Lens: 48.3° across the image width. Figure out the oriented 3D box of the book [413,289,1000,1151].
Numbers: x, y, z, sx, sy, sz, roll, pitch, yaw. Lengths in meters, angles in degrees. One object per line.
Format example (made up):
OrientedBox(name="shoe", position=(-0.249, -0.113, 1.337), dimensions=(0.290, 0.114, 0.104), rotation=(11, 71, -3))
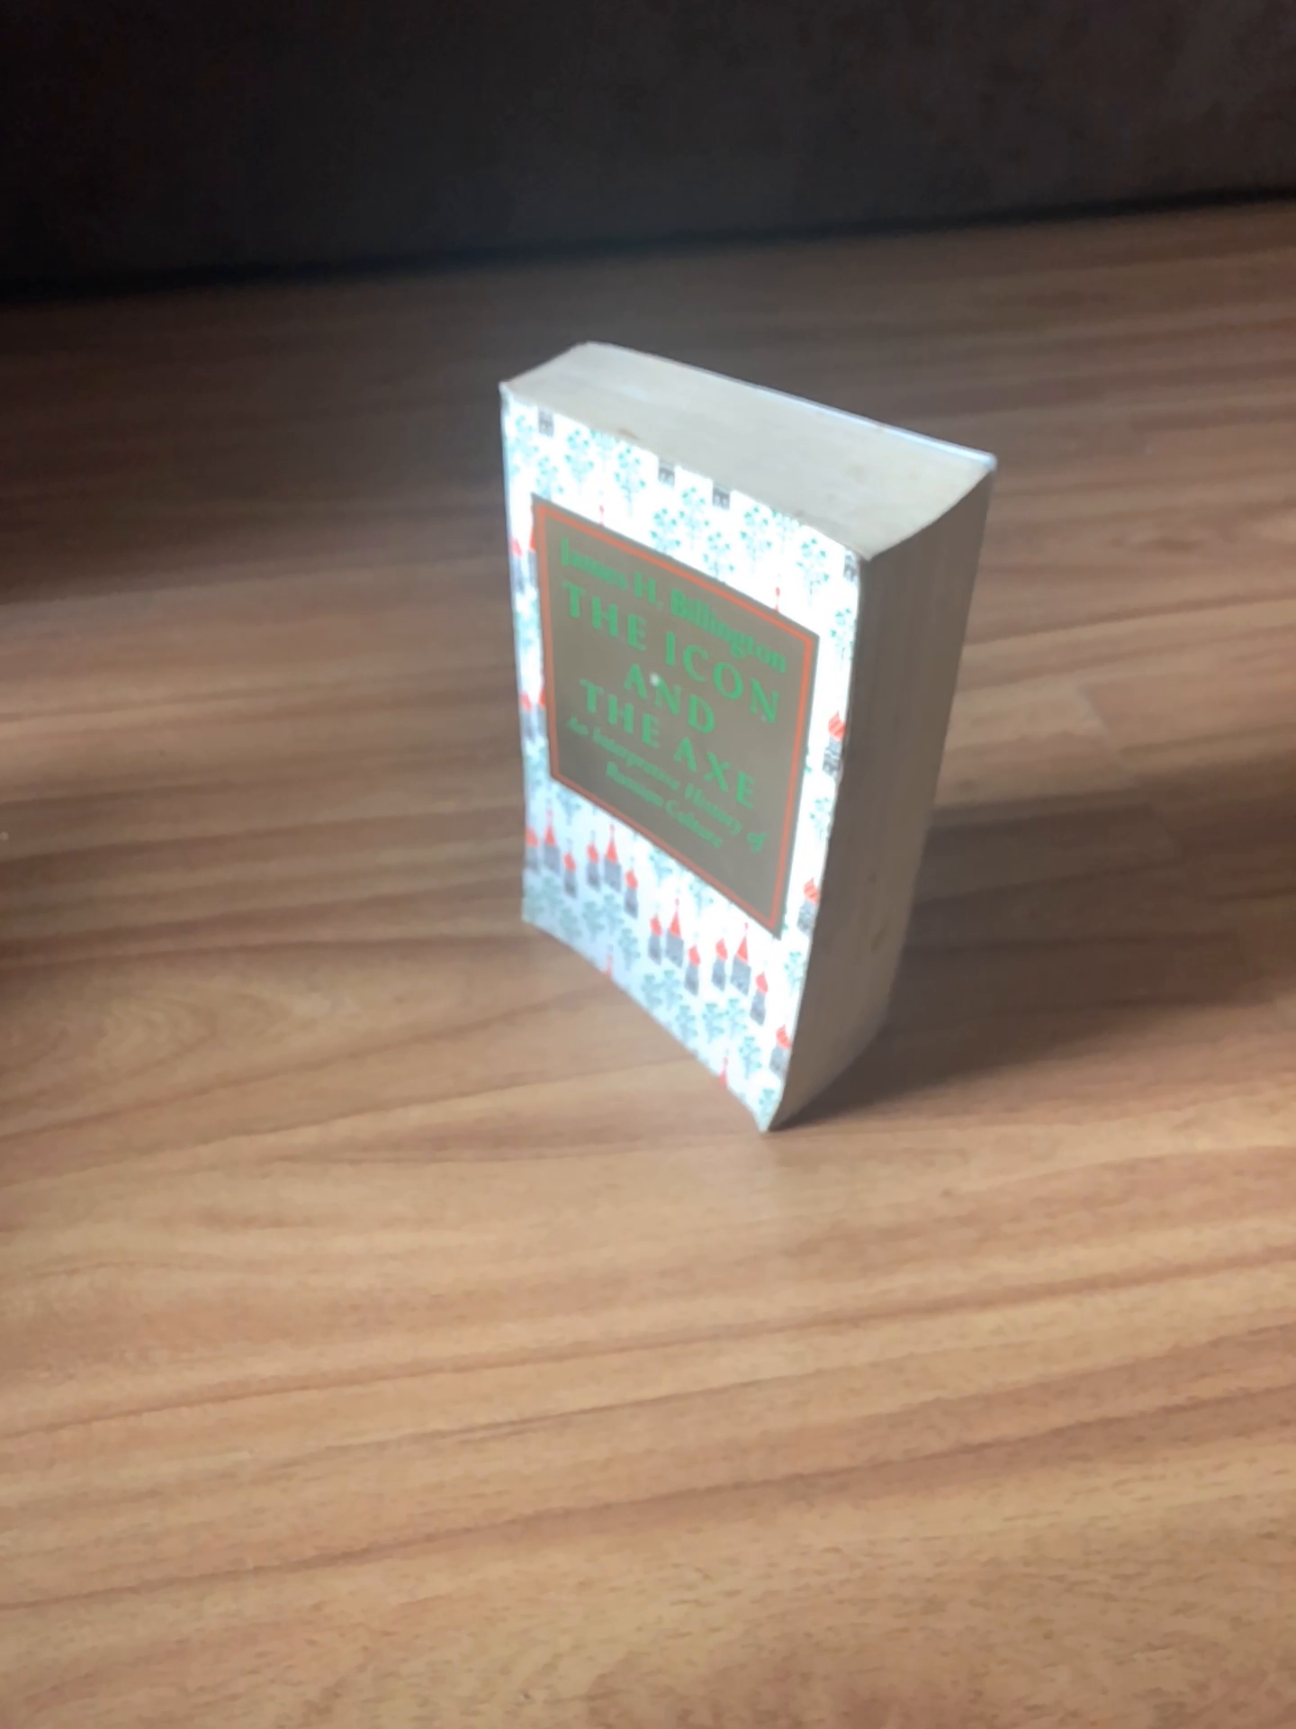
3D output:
OrientedBox(name="book", position=(0.008, -0.041, 0.423), dimensions=(0.060, 0.199, 0.151), rotation=(-29, 48, -31))
